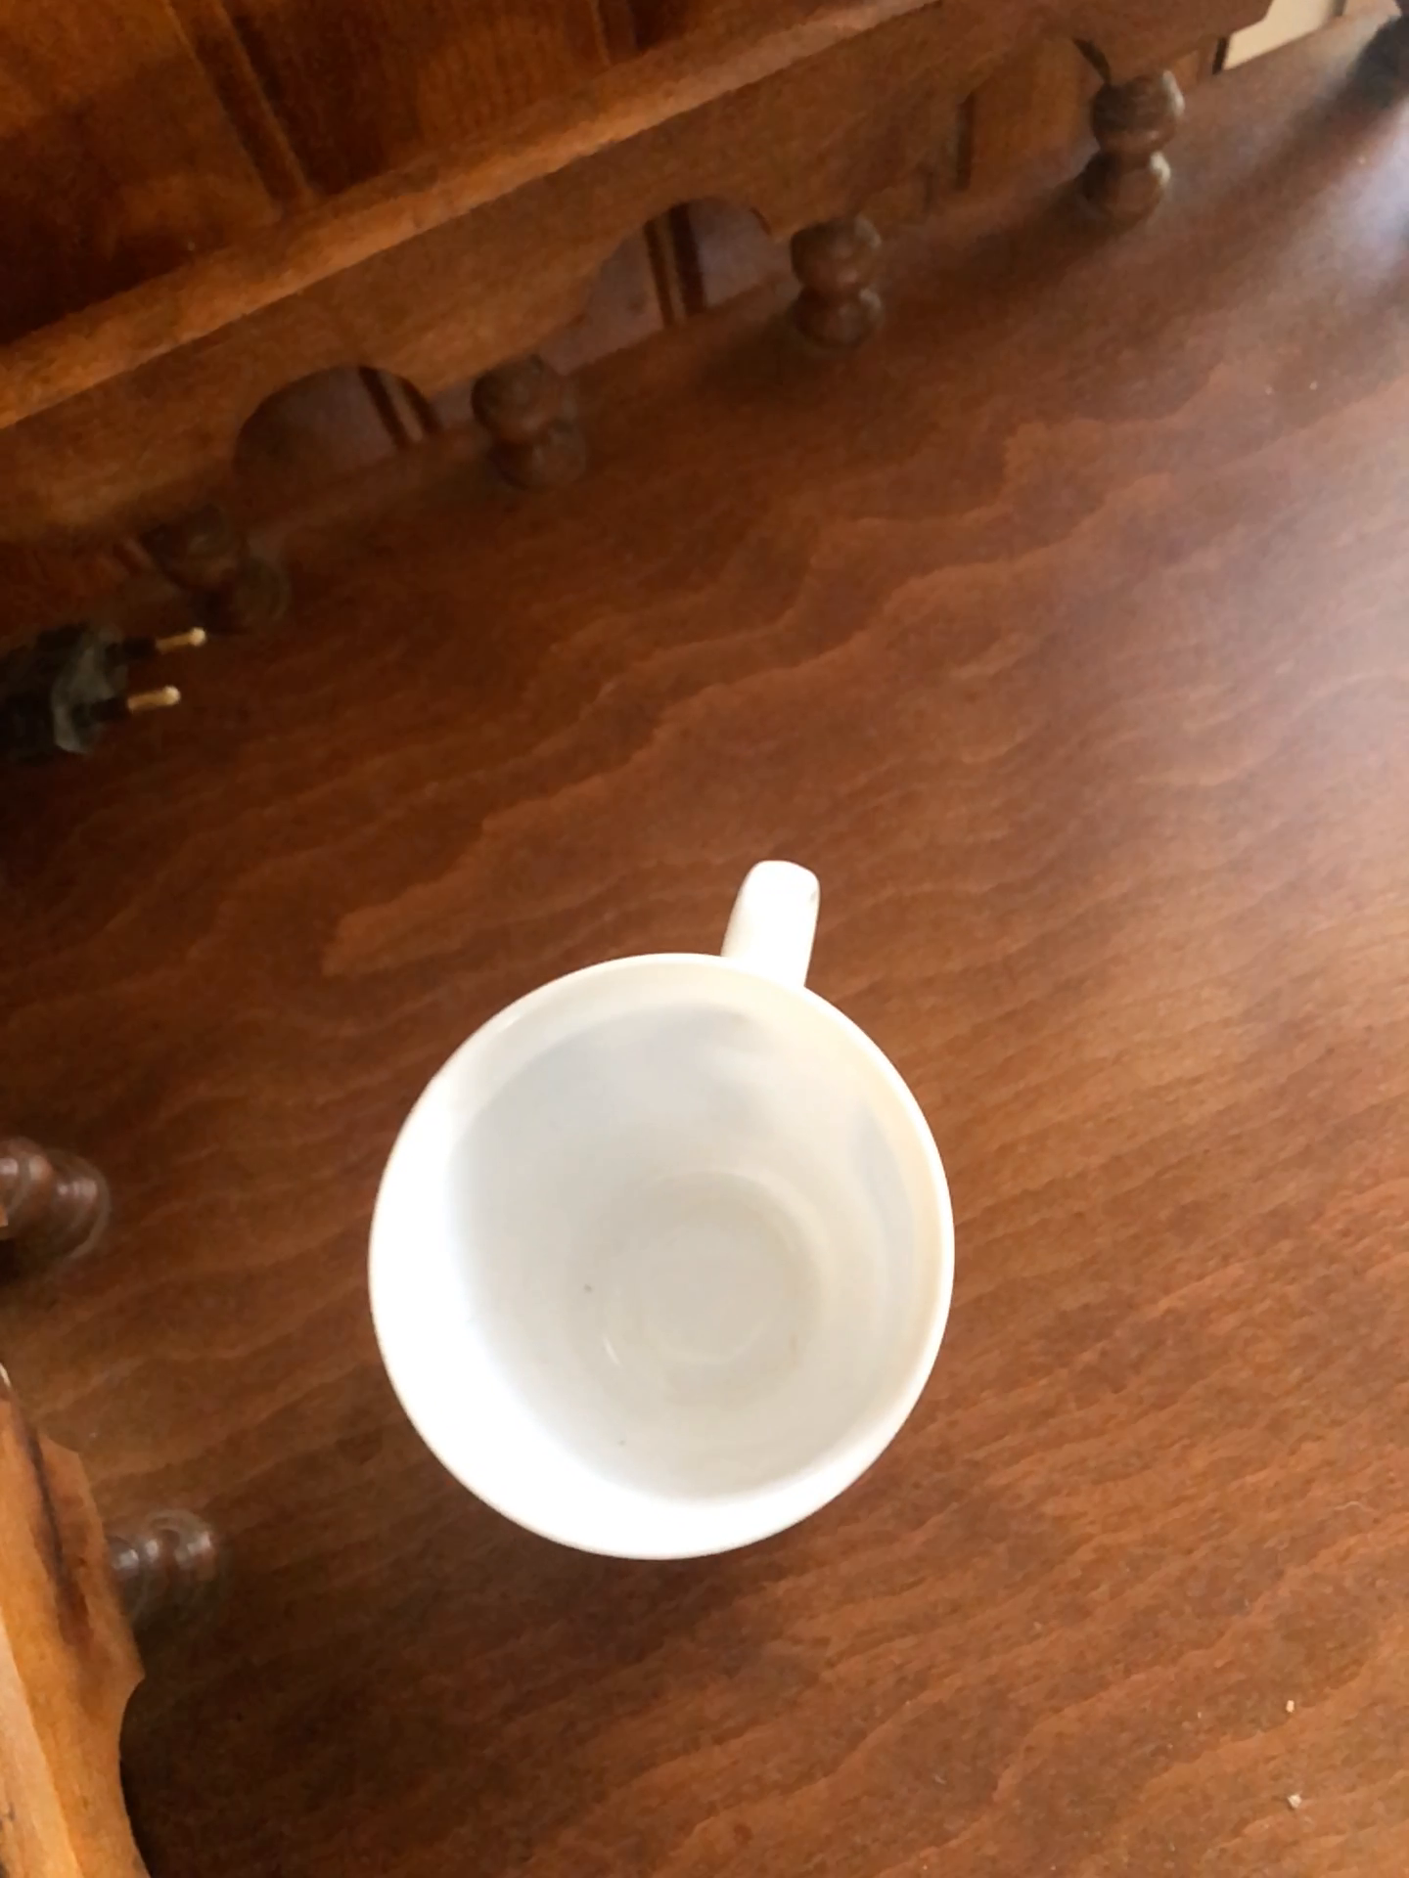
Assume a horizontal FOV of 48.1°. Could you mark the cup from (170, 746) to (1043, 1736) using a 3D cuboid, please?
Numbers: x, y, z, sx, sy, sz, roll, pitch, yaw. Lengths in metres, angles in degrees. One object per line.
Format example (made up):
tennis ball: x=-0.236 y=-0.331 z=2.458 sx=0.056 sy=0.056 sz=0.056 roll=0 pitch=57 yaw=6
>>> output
cup: x=-0.007 y=0.039 z=0.217 sx=0.080 sy=0.060 sz=0.100 roll=13 pitch=74 yaw=11
